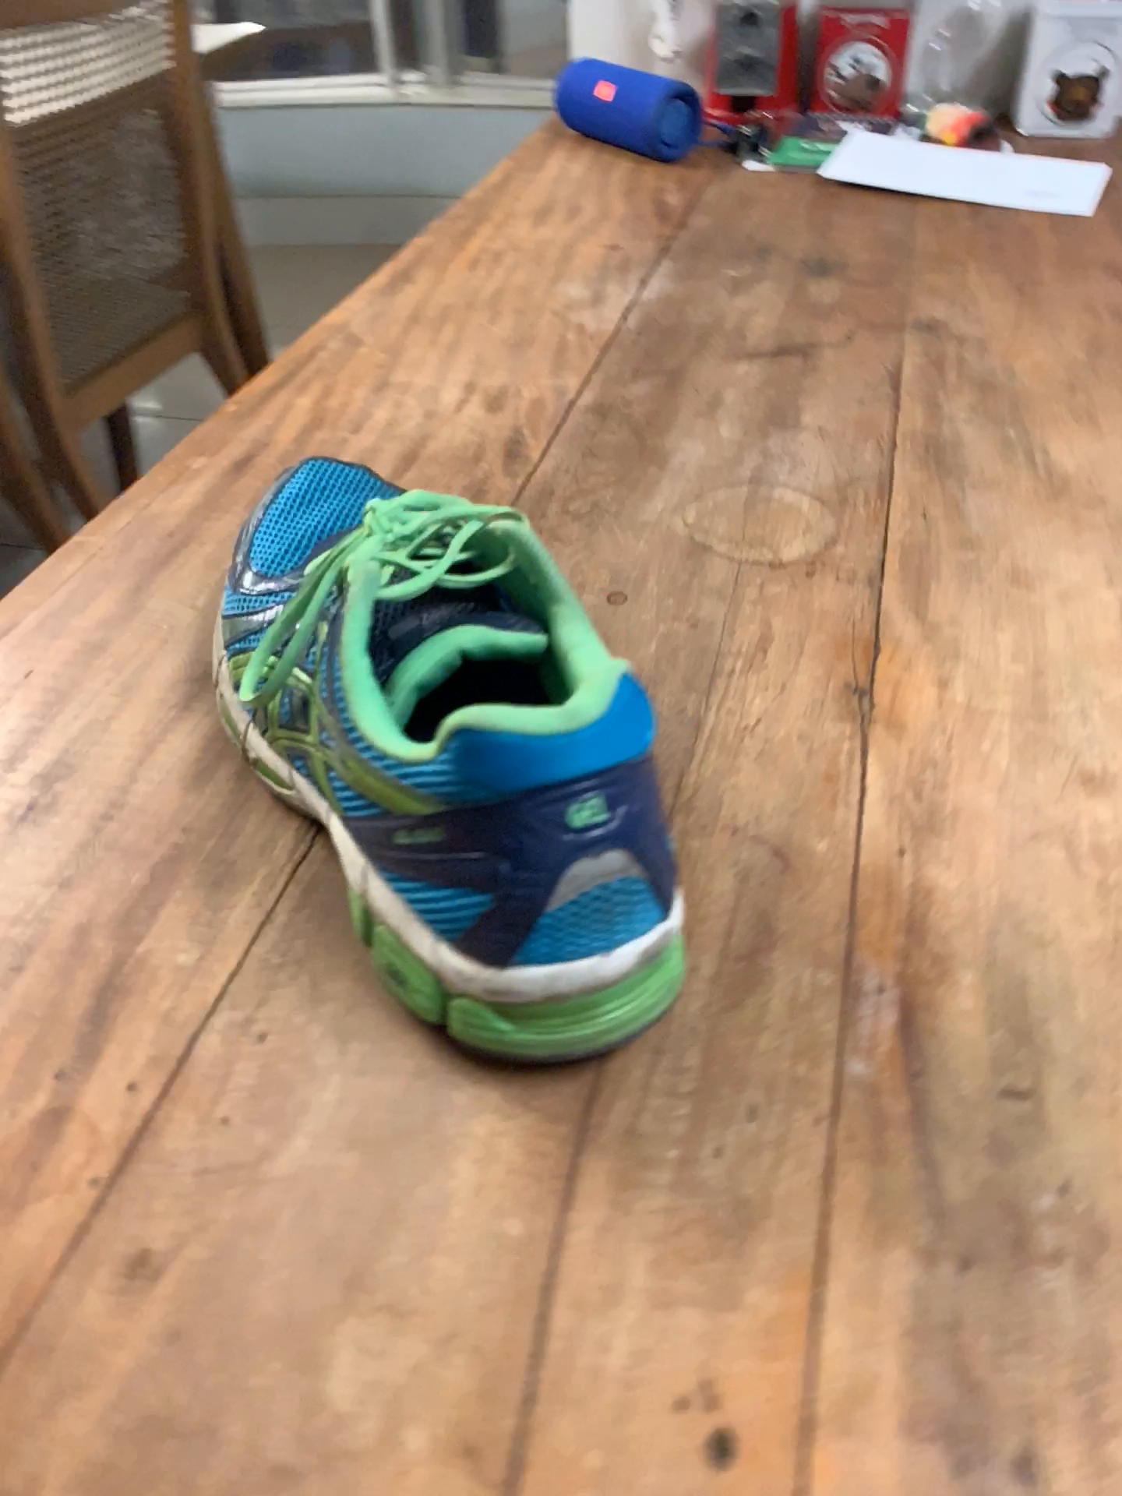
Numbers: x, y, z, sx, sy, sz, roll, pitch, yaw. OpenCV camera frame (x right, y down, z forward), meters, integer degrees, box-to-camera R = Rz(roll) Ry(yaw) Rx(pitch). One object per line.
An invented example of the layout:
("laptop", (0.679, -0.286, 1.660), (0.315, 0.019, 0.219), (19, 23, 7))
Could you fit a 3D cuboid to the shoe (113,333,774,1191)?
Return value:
("shoe", (-0.060, -0.027, 0.400), (0.110, 0.119, 0.302), (-19, 43, -17))
